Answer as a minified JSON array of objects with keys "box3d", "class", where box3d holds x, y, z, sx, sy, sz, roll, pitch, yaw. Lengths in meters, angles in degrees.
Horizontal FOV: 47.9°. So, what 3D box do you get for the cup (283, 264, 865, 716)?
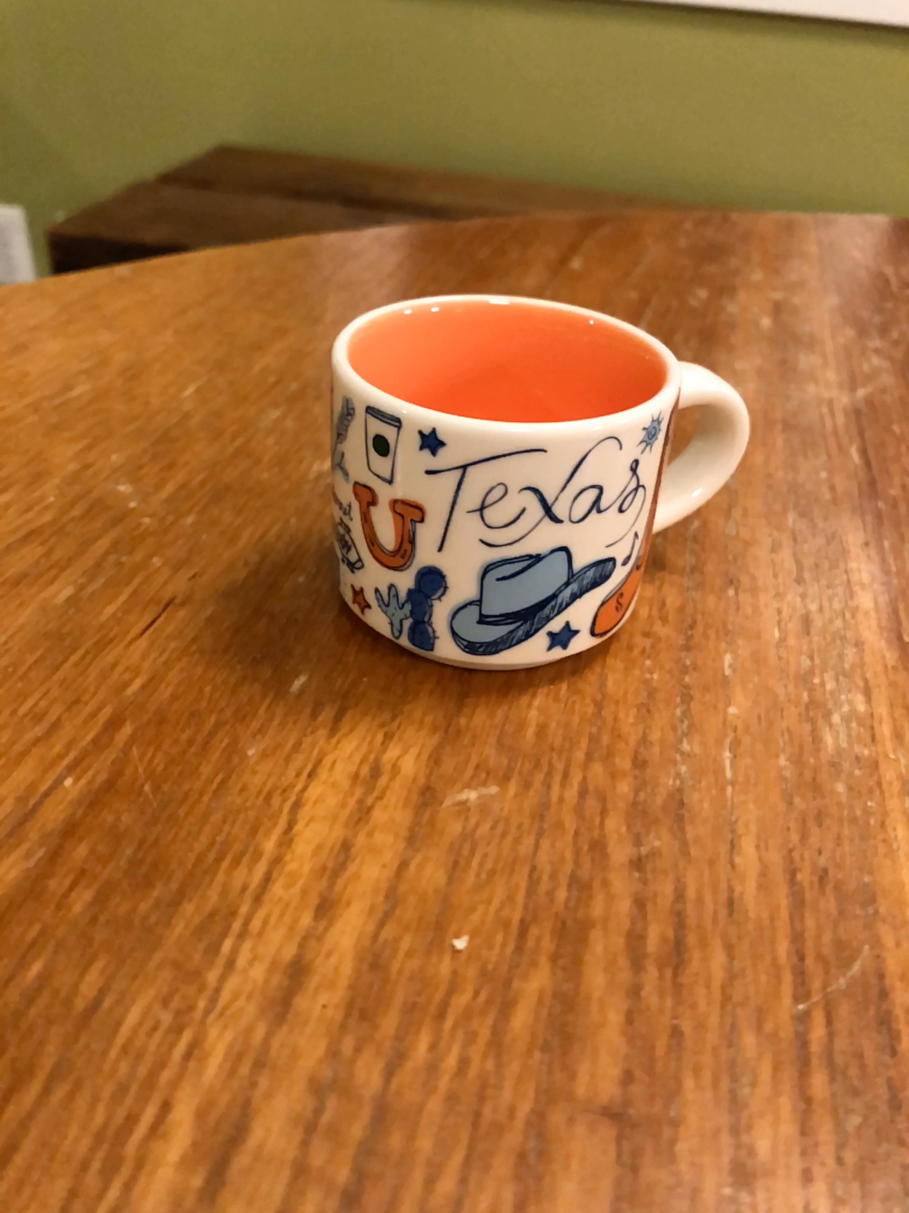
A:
[{"box3d":[0.015,-0.026,0.183,0.076,0.046,0.064,-10,38,-19],"class":"cup"}]
